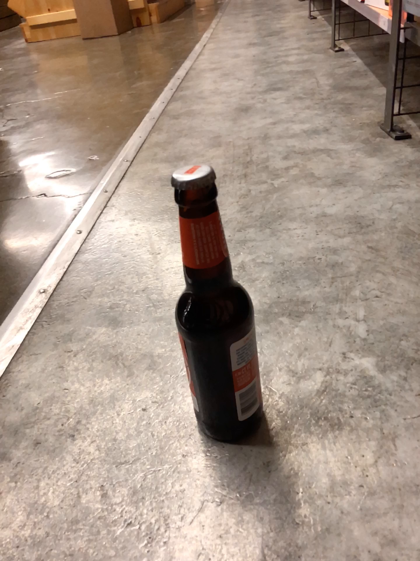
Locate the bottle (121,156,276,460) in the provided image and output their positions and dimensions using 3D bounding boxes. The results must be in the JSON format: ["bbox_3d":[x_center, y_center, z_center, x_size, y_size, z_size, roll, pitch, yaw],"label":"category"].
[{"bbox_3d":[0.002,0.029,0.336,0.060,0.219,0.059,-6,34,4],"label":"bottle"}]
